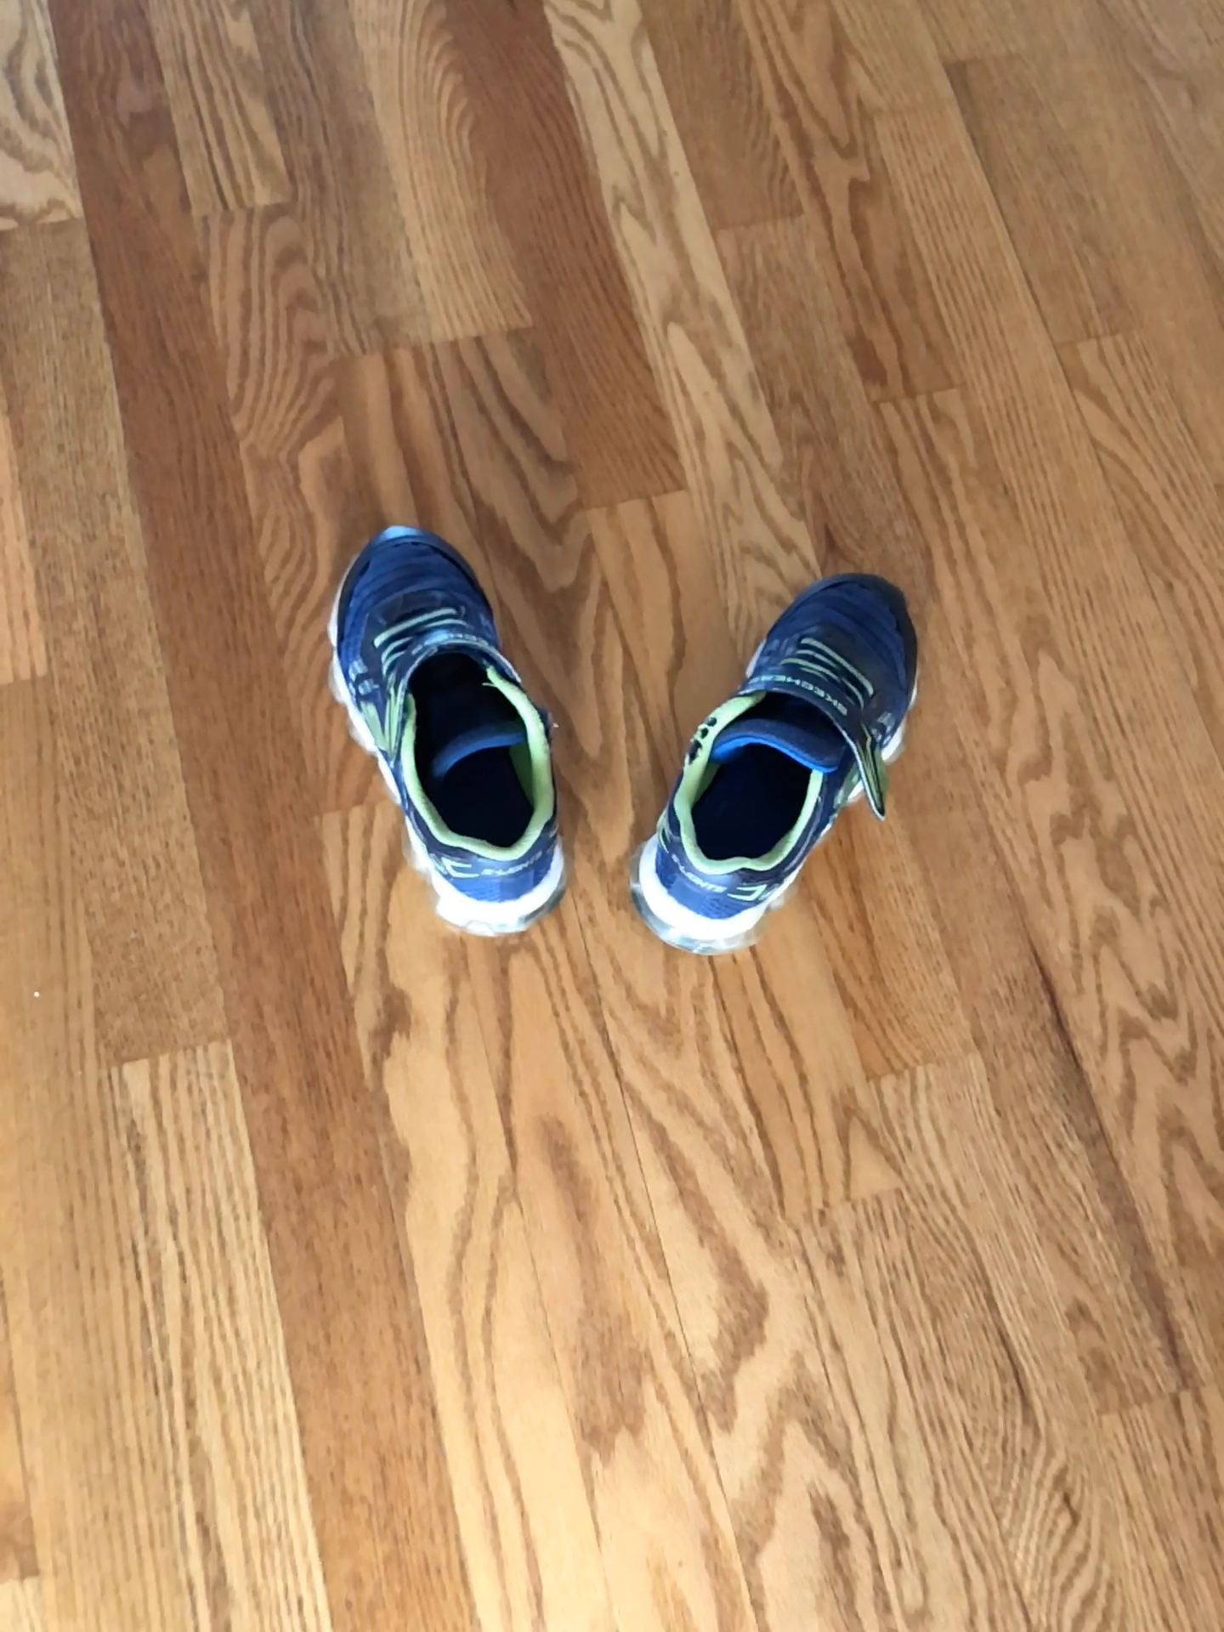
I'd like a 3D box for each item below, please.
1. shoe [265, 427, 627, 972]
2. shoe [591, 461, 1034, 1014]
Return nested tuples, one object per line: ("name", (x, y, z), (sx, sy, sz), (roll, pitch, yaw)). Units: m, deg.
("shoe", (-0.074, -0.049, 0.596), (0.093, 0.095, 0.203), (-17, 75, -9))
("shoe", (0.086, -0.033, 0.598), (0.093, 0.087, 0.212), (30, 74, 5))
